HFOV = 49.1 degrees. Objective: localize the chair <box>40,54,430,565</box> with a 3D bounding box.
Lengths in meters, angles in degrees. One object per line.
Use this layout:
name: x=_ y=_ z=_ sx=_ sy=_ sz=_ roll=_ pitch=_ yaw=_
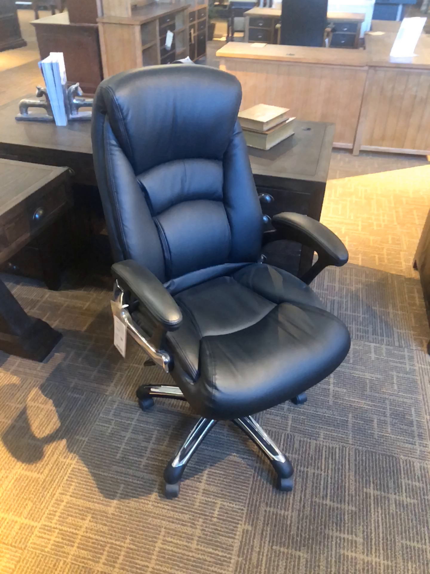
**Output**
chair: x=0.050 y=0.013 z=1.397 sx=0.702 sy=1.118 sz=0.771 roll=-19 pitch=40 yaw=-27
